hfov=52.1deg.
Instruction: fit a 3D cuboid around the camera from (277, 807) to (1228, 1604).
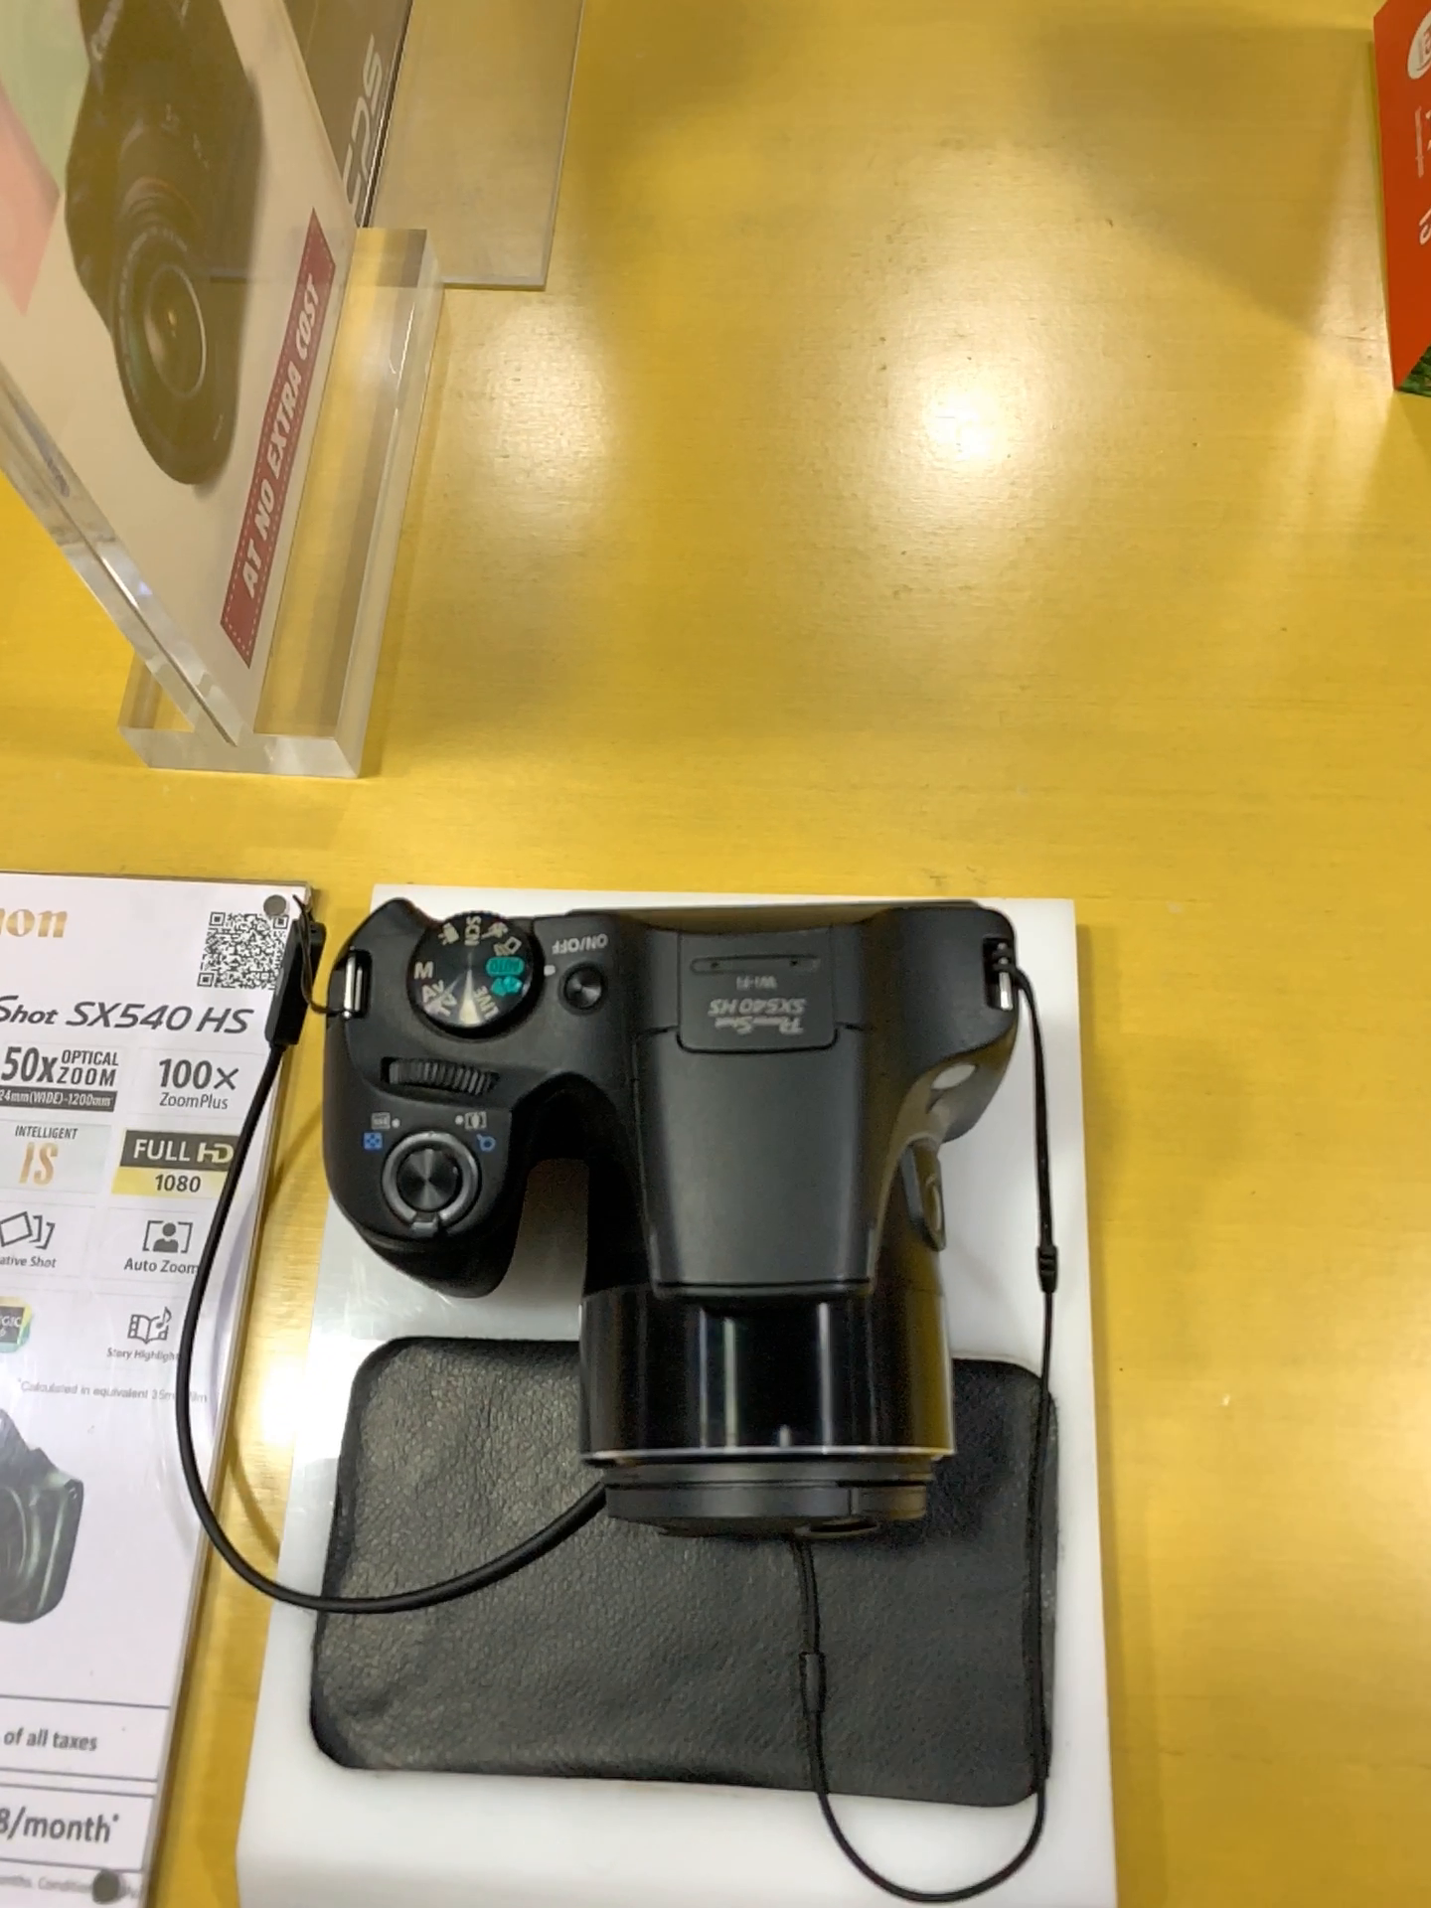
[{"bbox_3d":[0.006,0.041,0.237,0.120,0.070,0.110,0,69,2],"label":"camera"}]
